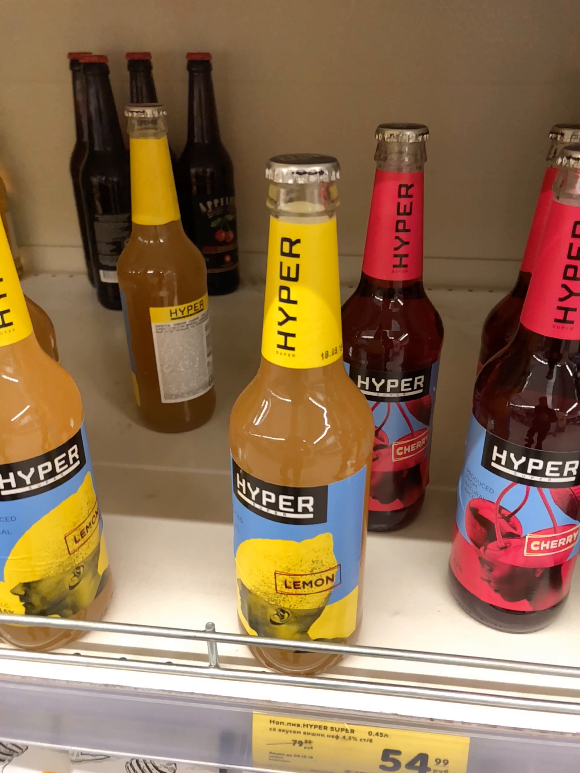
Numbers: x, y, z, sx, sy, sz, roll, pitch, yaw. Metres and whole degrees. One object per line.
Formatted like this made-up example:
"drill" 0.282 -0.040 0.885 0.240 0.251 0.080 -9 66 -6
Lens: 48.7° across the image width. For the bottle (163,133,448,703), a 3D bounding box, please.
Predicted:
"bottle" 0.010 0.018 0.293 0.080 0.239 0.080 0 28 0
